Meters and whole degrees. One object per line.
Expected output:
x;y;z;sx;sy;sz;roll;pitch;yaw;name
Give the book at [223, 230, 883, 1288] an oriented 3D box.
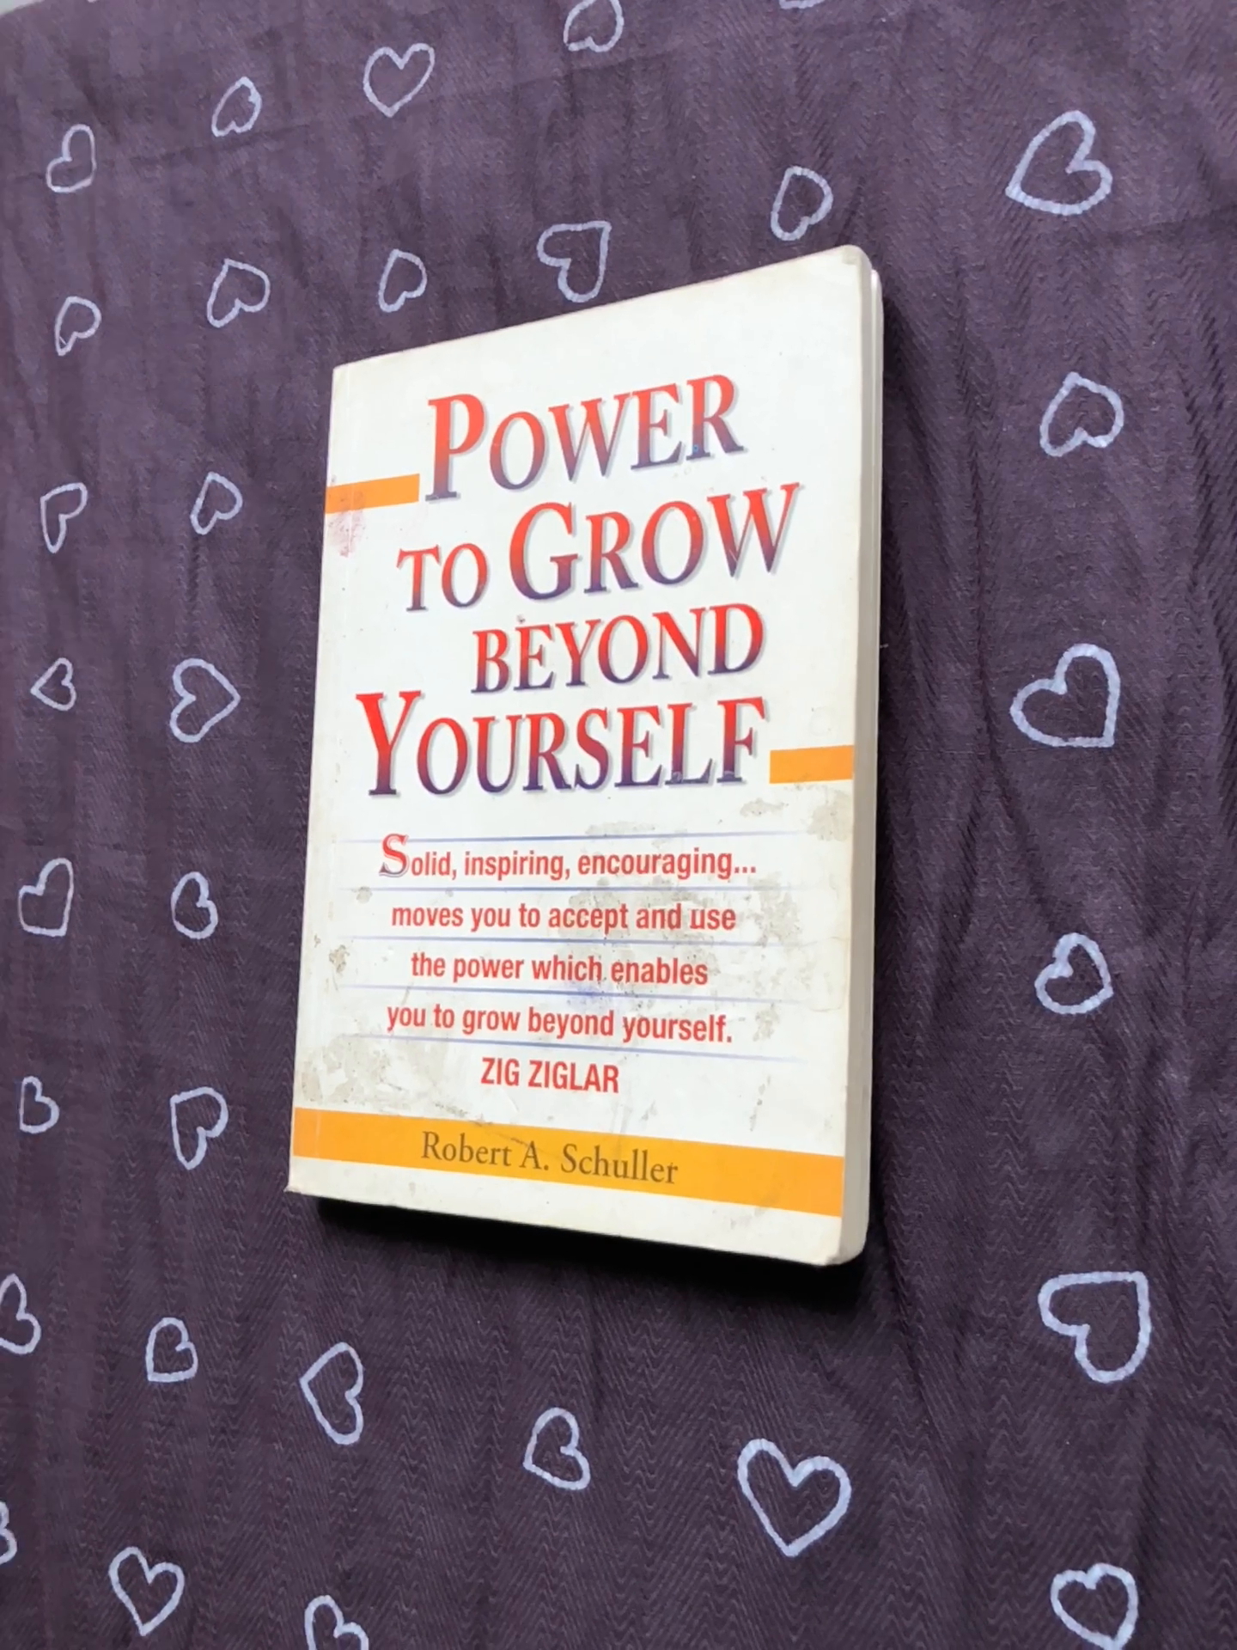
-0.013;-0.013;0.270;0.120;0.030;0.180;0;84;24;book
